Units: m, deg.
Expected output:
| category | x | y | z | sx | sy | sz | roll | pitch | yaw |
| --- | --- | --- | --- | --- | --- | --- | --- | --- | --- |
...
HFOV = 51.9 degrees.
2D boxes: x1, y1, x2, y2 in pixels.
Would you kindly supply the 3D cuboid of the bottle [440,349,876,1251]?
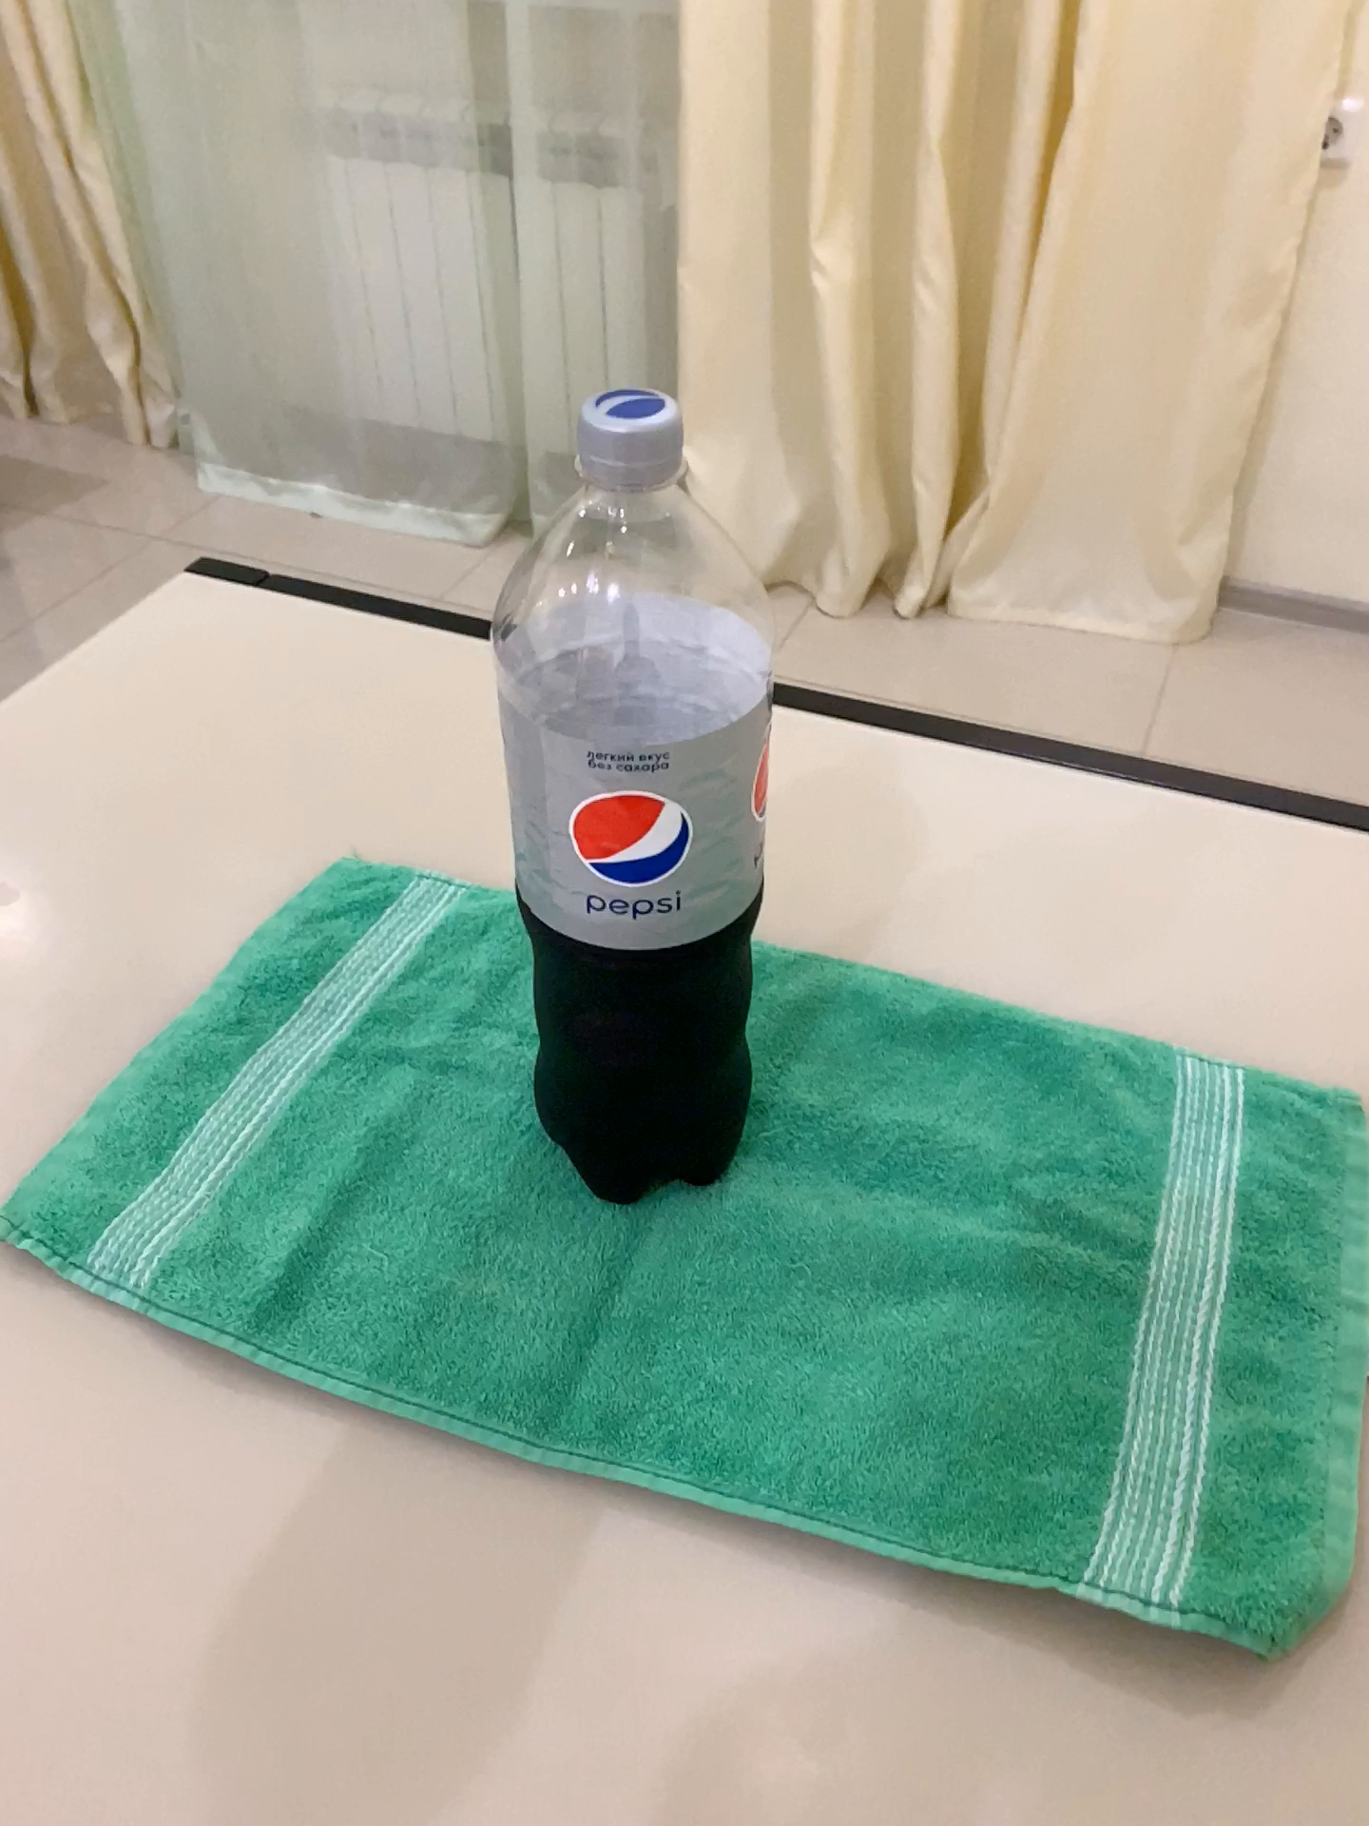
| category | x | y | z | sx | sy | sz | roll | pitch | yaw |
| --- | --- | --- | --- | --- | --- | --- | --- | --- | --- |
| bottle | -0.011 | -0.023 | 0.490 | 0.100 | 0.298 | 0.101 | 0 | 41 | 0 |
